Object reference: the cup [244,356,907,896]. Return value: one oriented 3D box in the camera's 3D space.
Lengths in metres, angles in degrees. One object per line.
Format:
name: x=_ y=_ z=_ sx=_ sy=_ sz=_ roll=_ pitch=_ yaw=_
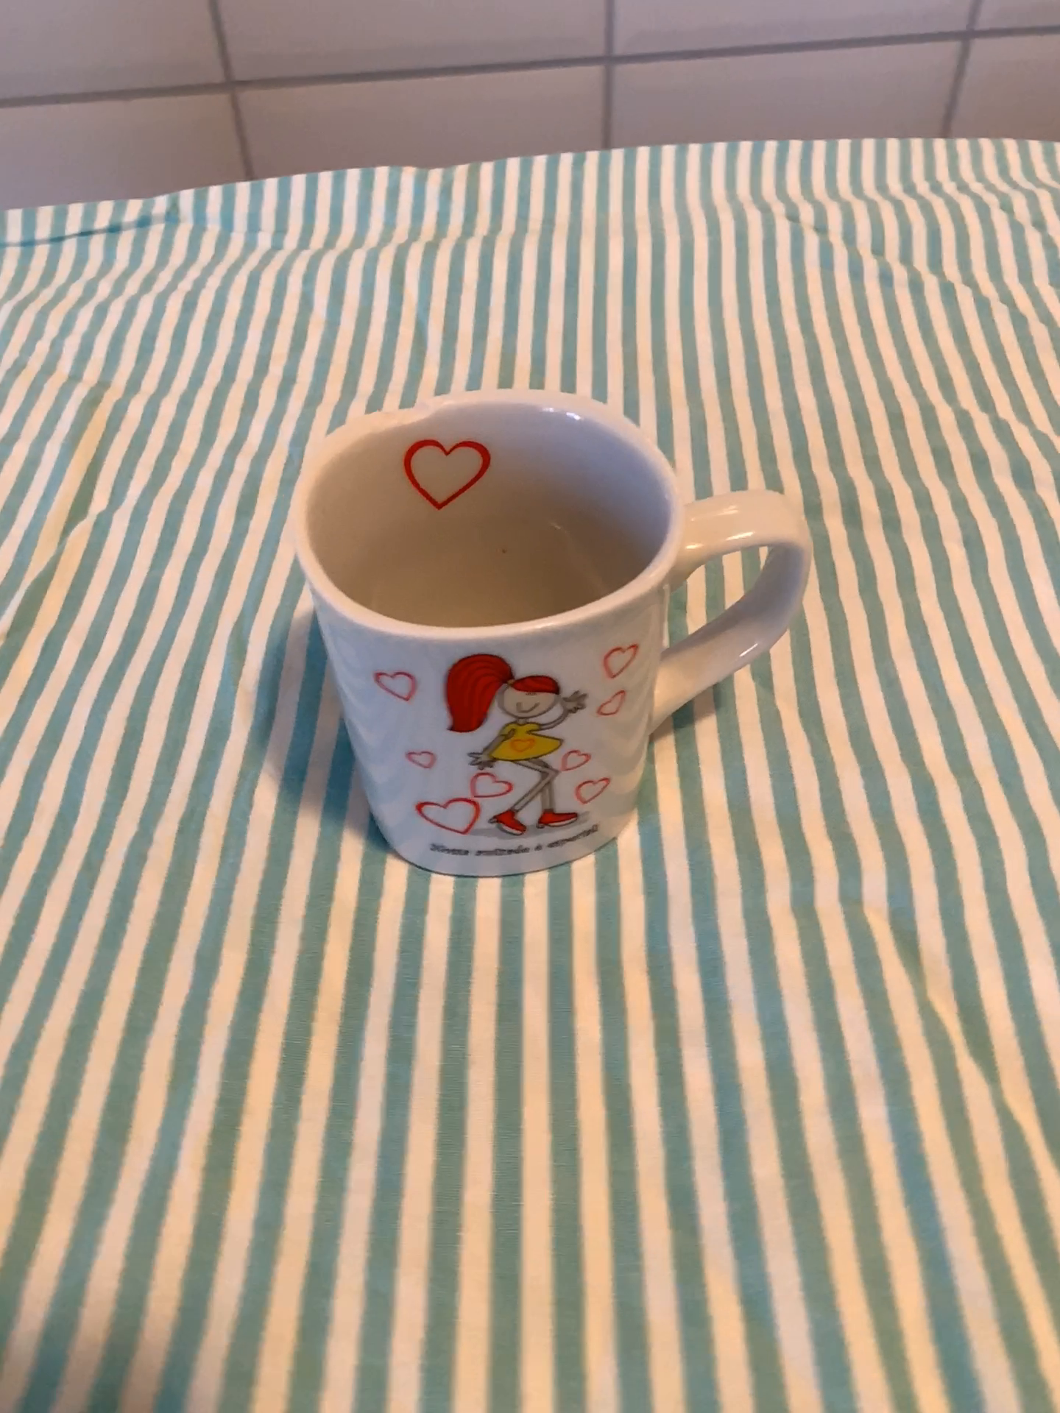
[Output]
cup: x=0.006 y=-0.016 z=0.234 sx=0.110 sy=0.080 sz=0.070 roll=-5 pitch=48 yaw=-3
